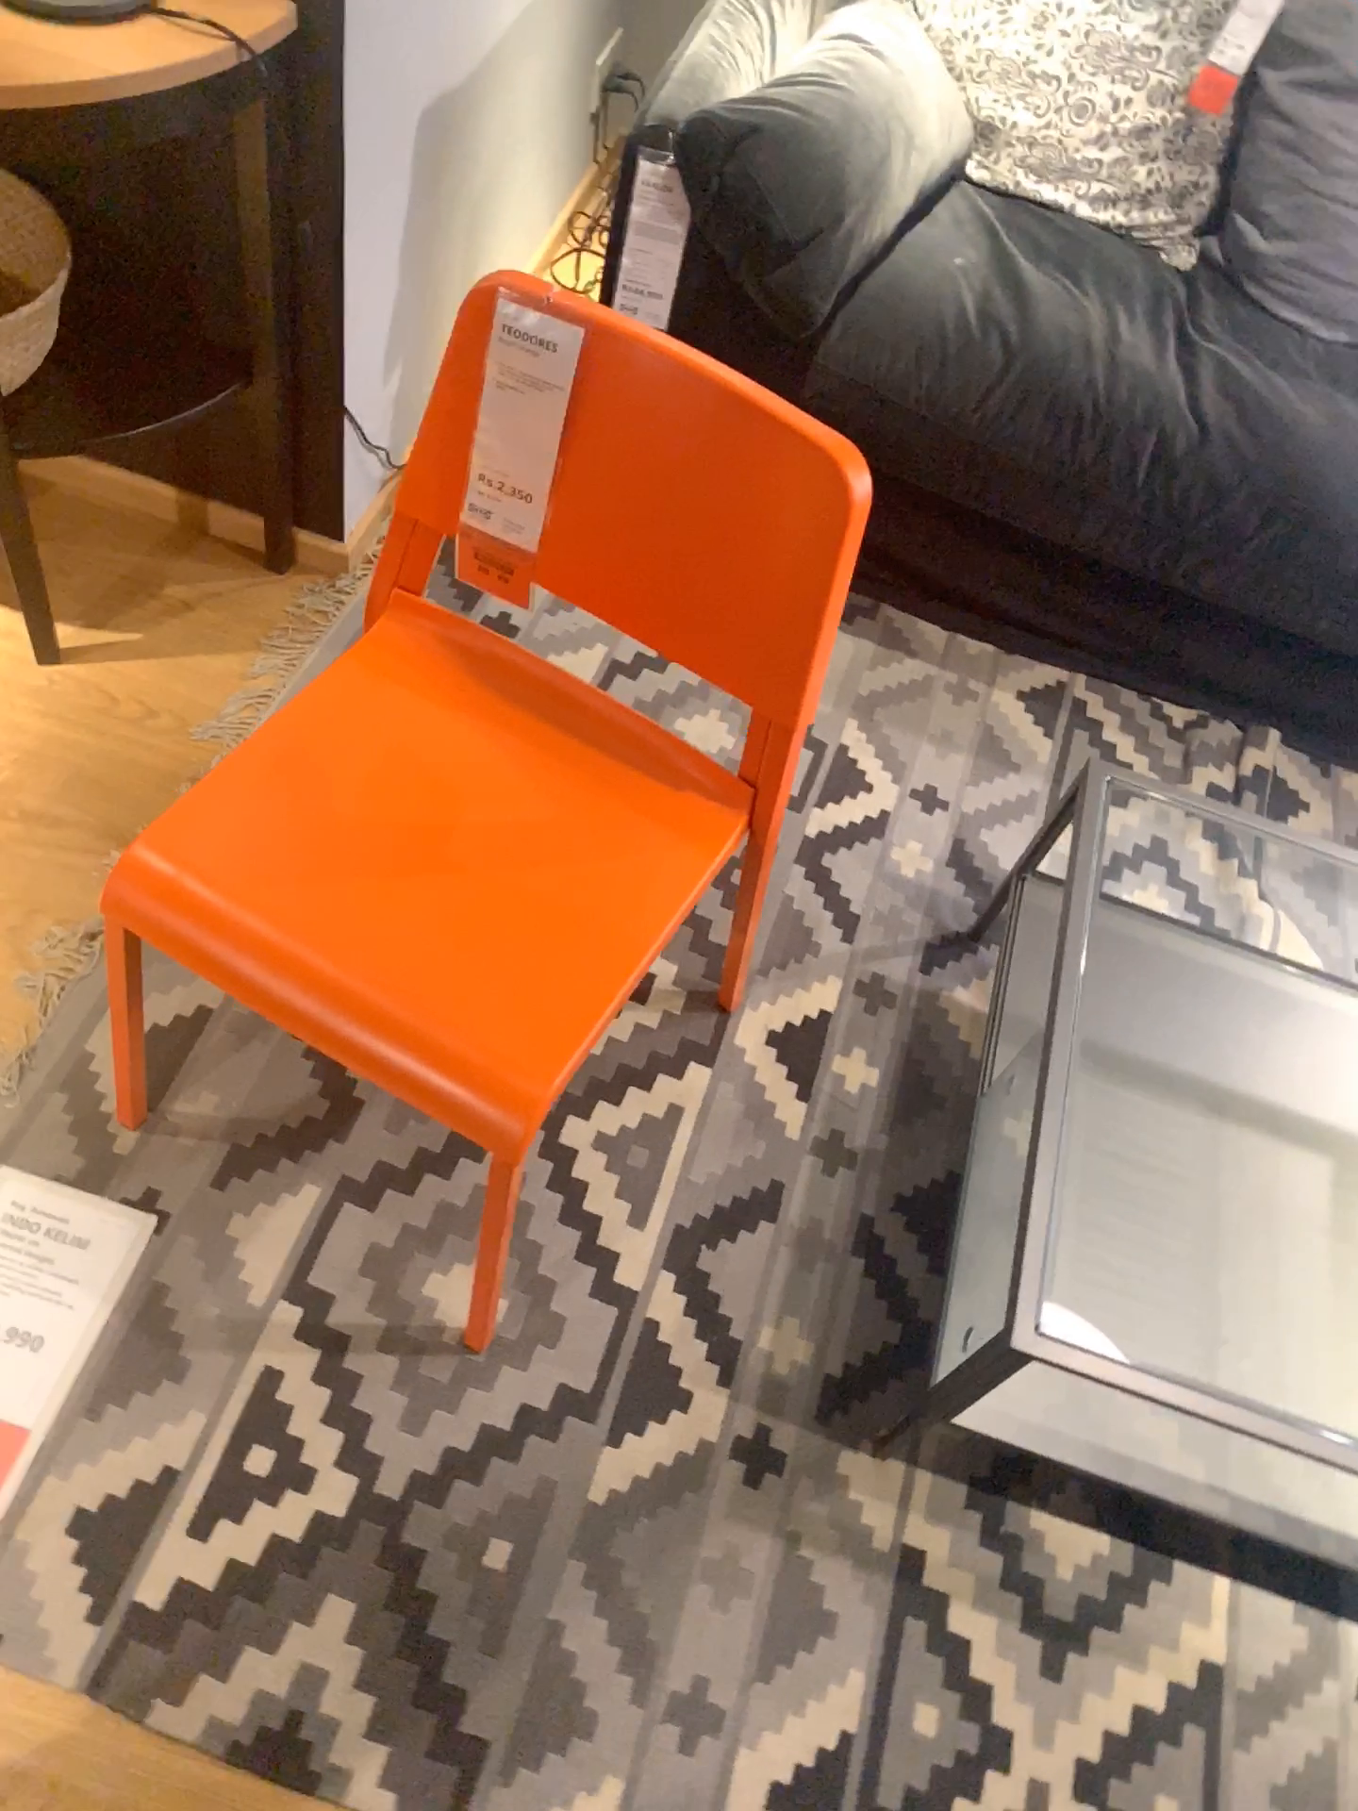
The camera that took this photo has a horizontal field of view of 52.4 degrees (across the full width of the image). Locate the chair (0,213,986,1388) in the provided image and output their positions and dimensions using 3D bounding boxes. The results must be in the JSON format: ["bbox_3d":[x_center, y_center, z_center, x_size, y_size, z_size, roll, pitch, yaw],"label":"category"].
[{"bbox_3d":[-0.187,-0.057,1.250,0.520,0.728,0.581,29,54,8],"label":"chair"}]
